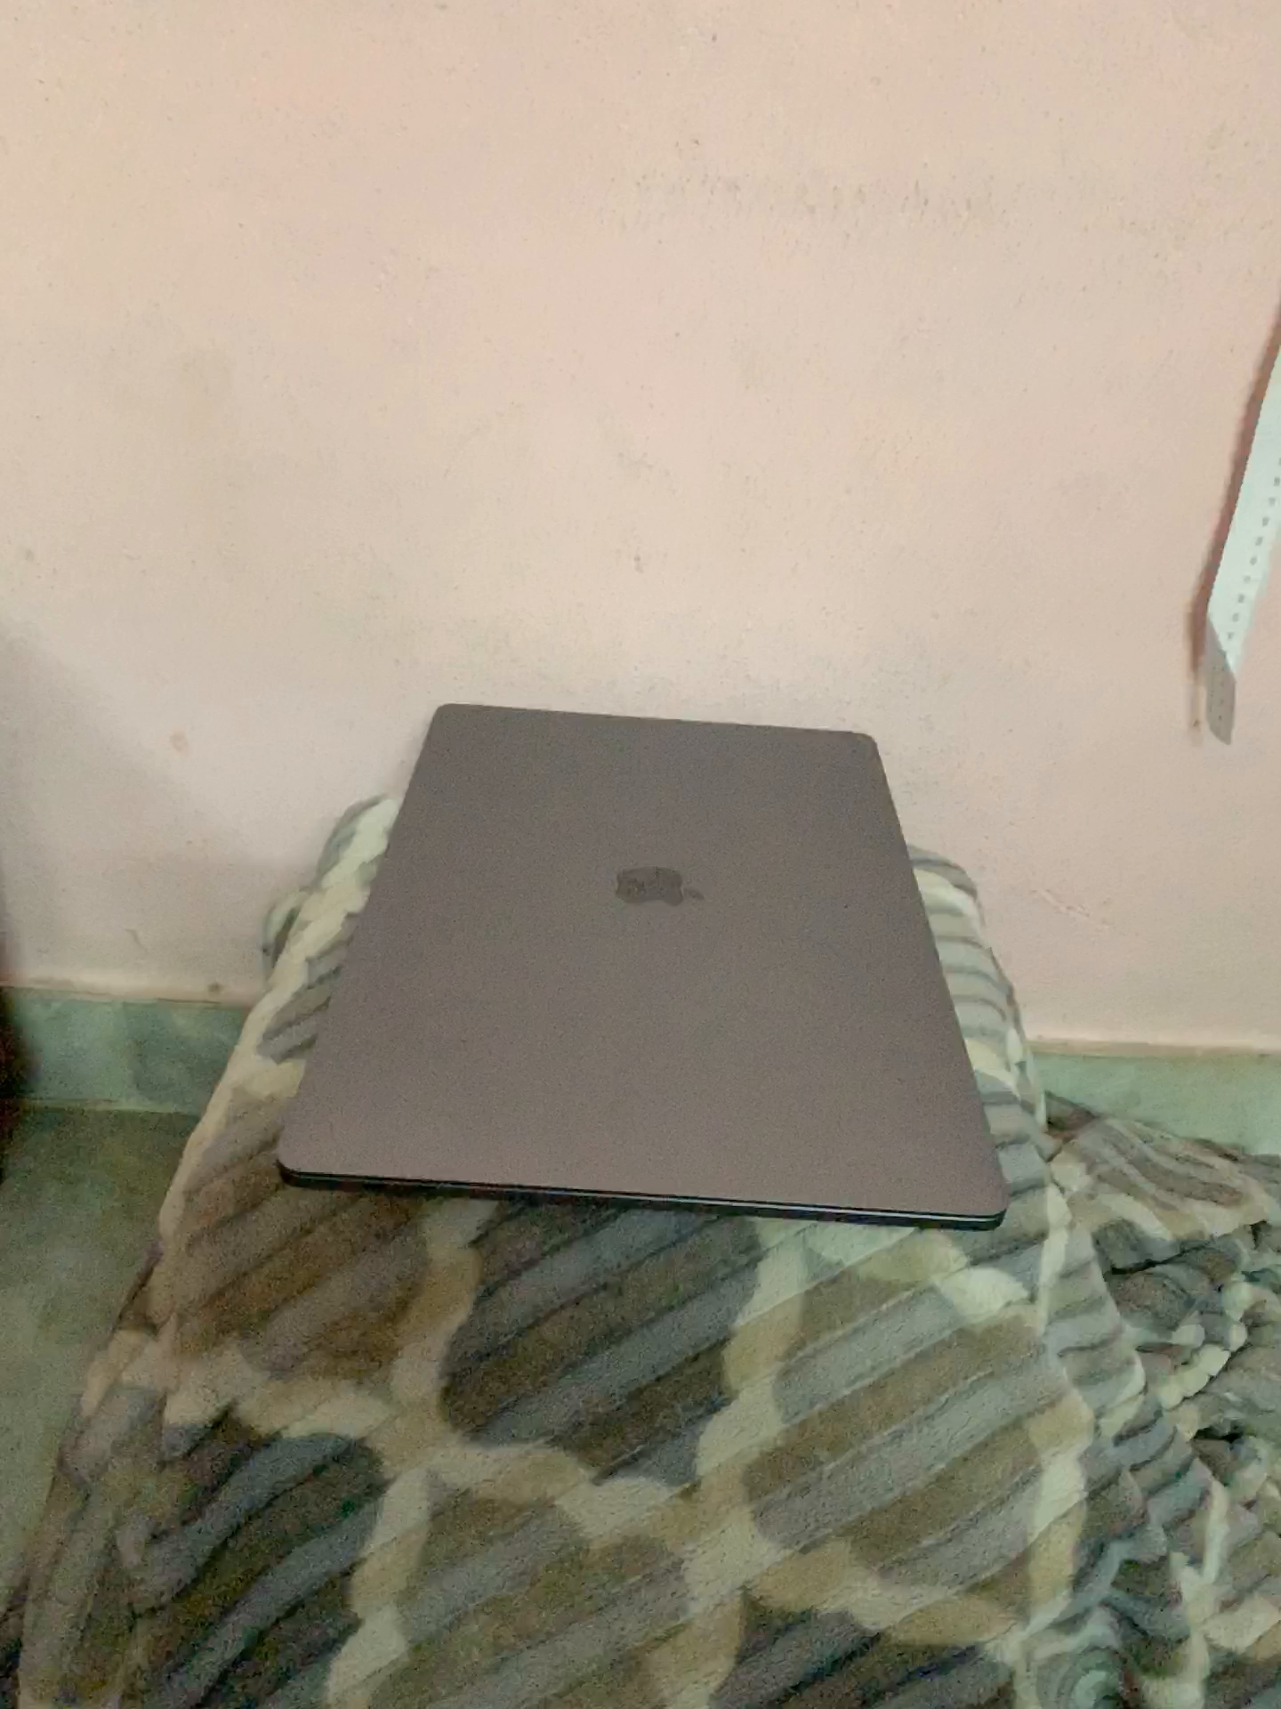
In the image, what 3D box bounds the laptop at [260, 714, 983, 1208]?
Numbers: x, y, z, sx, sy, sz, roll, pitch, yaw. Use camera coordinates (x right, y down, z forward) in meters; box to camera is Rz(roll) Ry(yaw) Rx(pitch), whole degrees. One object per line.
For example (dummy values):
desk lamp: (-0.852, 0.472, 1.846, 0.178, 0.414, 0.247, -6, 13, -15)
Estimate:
laptop: (-0.005, 0.019, 0.553, 0.228, 0.002, 0.327, 2, 32, 0)
